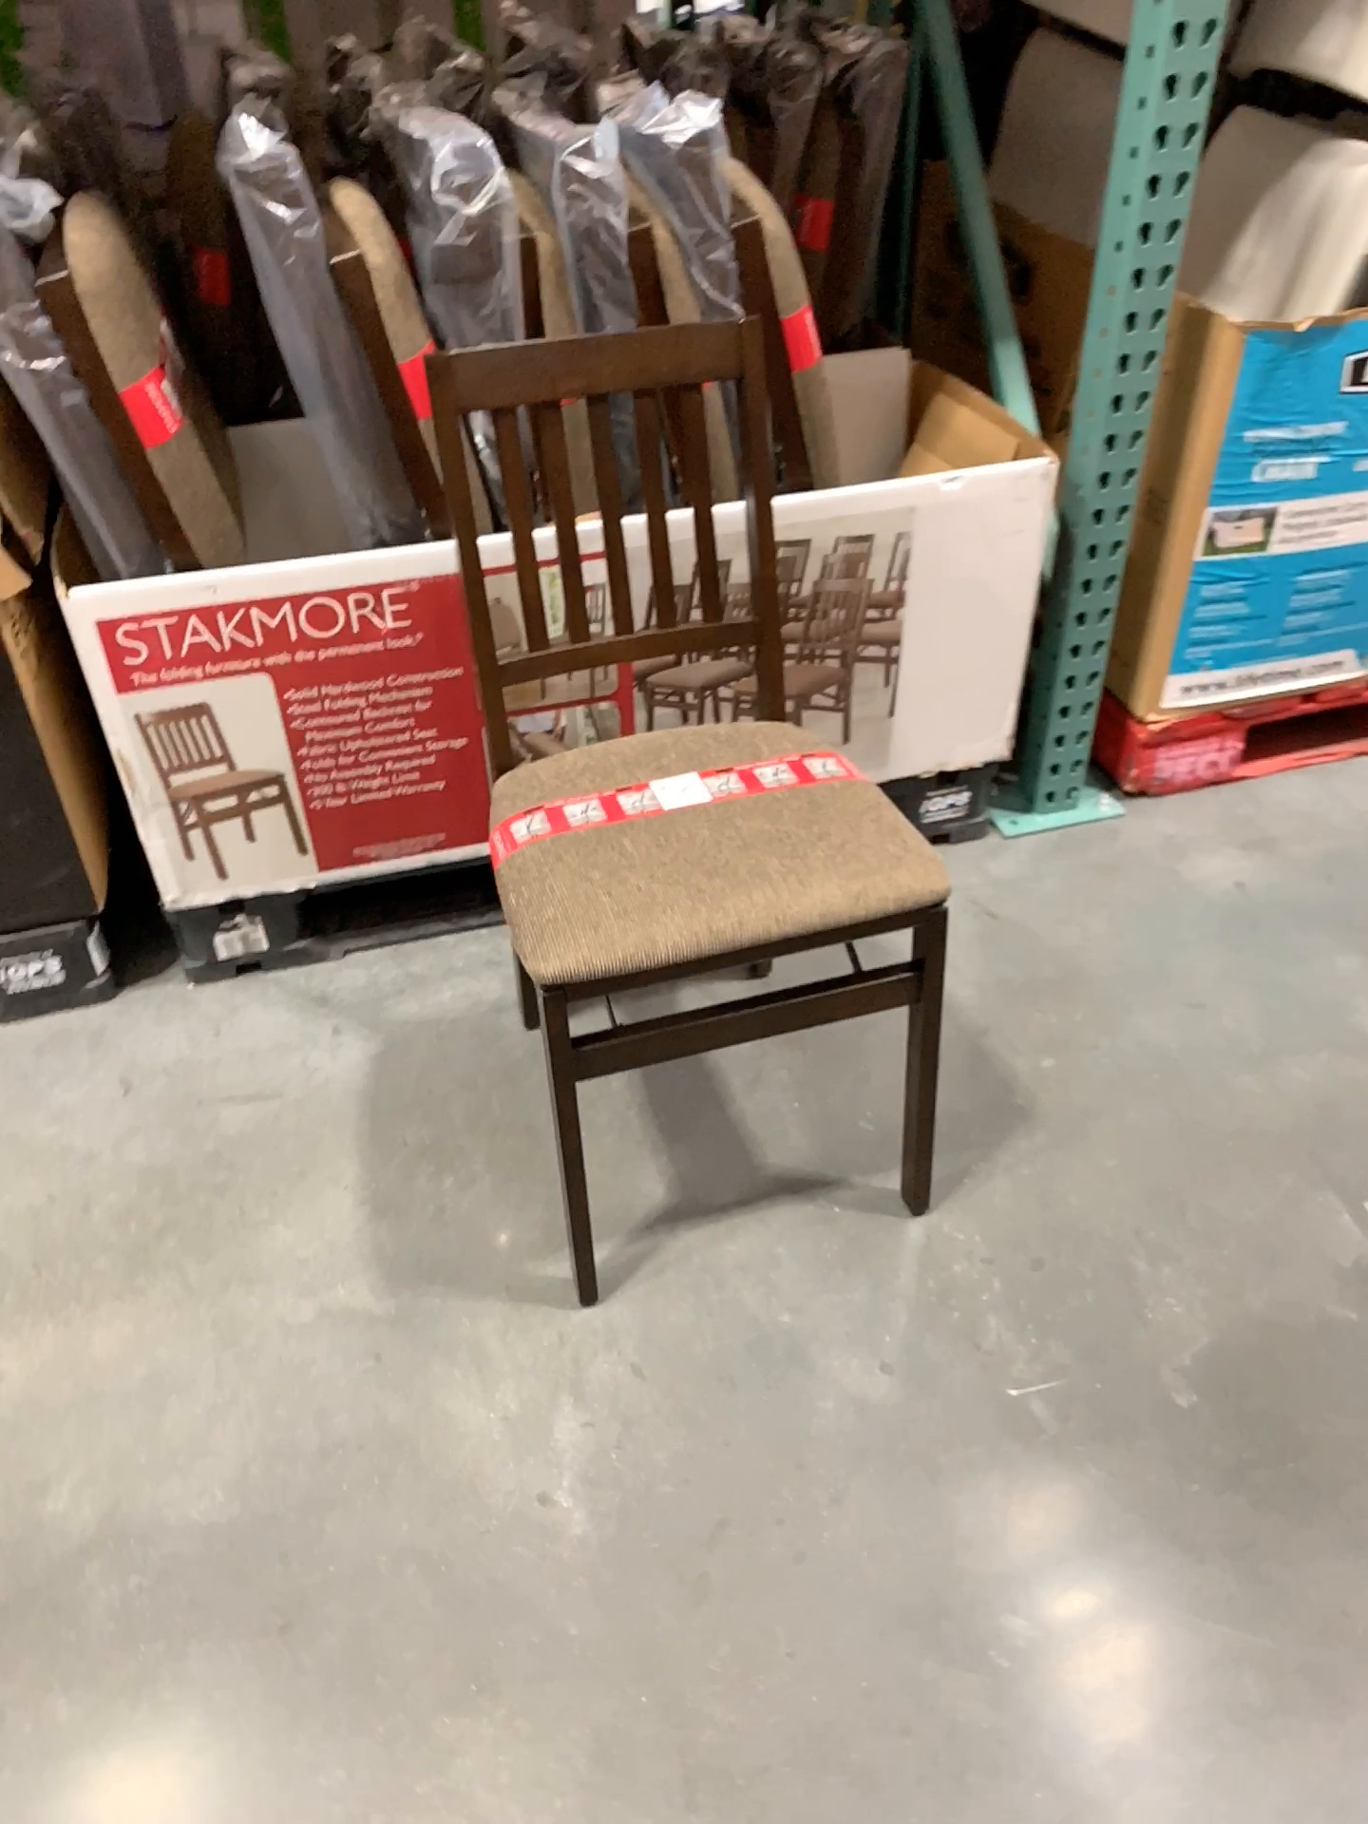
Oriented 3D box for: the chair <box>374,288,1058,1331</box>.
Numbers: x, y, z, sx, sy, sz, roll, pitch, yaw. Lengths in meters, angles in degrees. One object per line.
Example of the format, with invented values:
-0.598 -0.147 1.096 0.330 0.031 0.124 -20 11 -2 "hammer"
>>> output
-0.005 -0.104 1.452 0.421 0.837 0.574 -12 40 -13 "chair"
